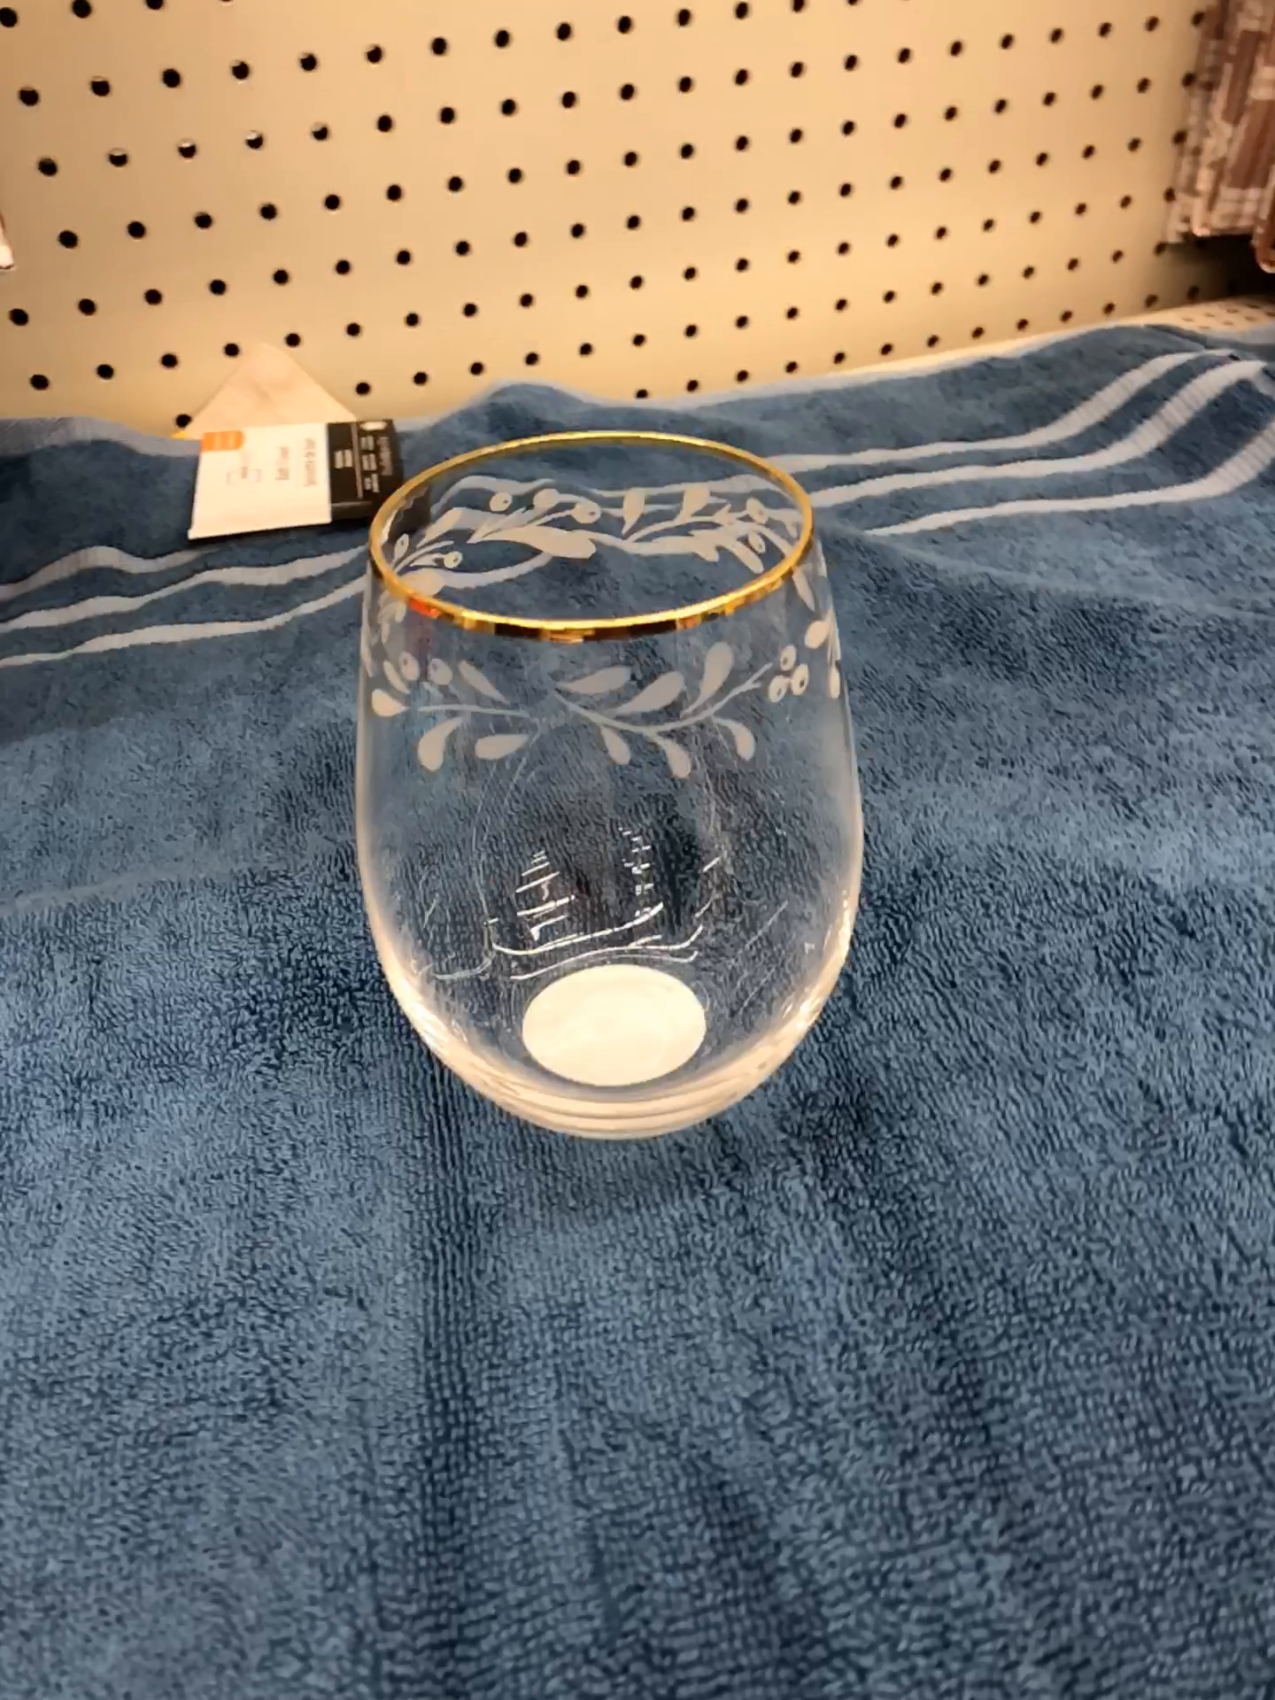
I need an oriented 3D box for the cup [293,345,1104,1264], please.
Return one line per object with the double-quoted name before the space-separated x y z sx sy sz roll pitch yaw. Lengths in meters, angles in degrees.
"cup" 0.004 -0.012 0.231 0.090 0.100 0.090 -2 38 2
